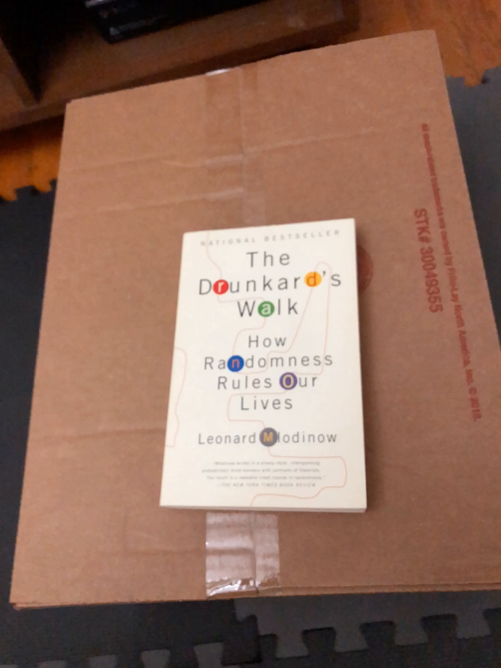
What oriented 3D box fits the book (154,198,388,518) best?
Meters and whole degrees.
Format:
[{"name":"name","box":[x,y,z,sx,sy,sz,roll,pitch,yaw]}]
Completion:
[{"name":"book","box":[0.016,0.014,0.385,0.140,0.040,0.210,-3,68,12]}]
